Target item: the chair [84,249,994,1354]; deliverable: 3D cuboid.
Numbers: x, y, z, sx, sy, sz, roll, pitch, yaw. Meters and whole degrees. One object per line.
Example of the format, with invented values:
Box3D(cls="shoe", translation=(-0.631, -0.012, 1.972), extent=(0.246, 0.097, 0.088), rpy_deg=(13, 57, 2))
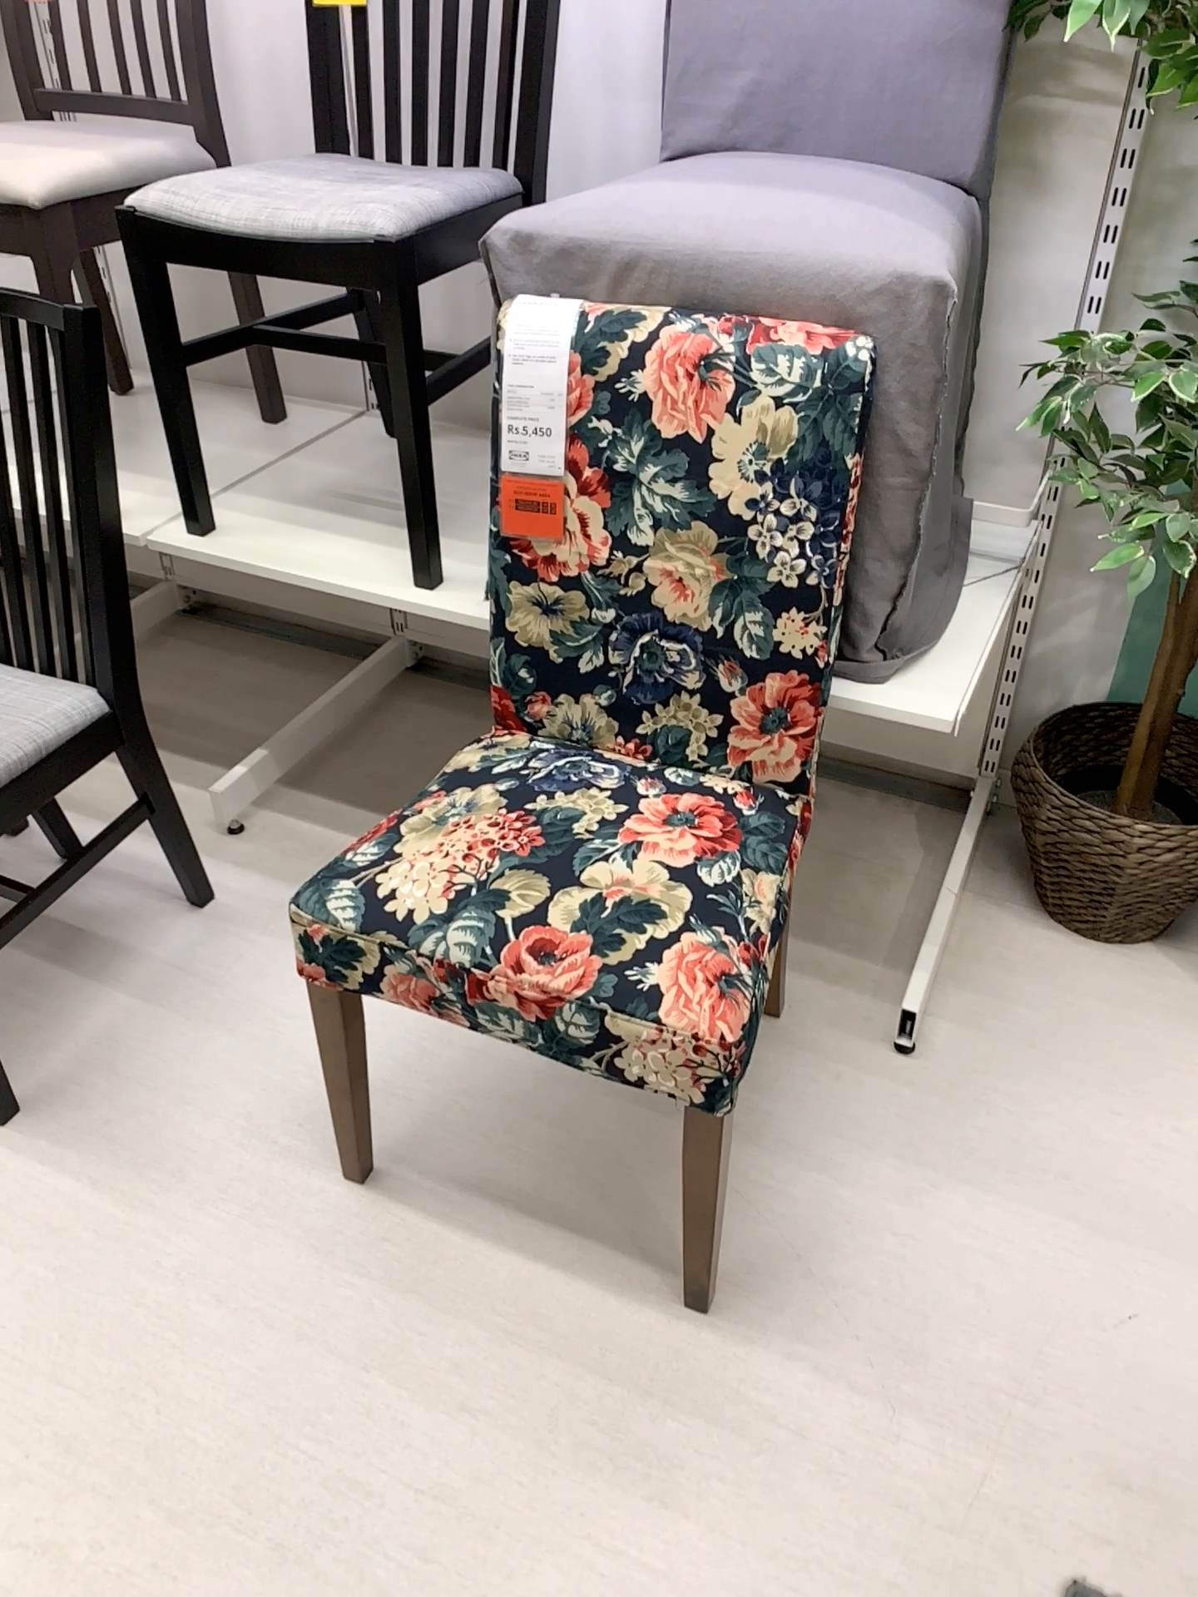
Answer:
Box3D(cls="chair", translation=(-0.006, -0.021, 1.305), extent=(0.561, 0.886, 0.602), rpy_deg=(16, 39, 21))
